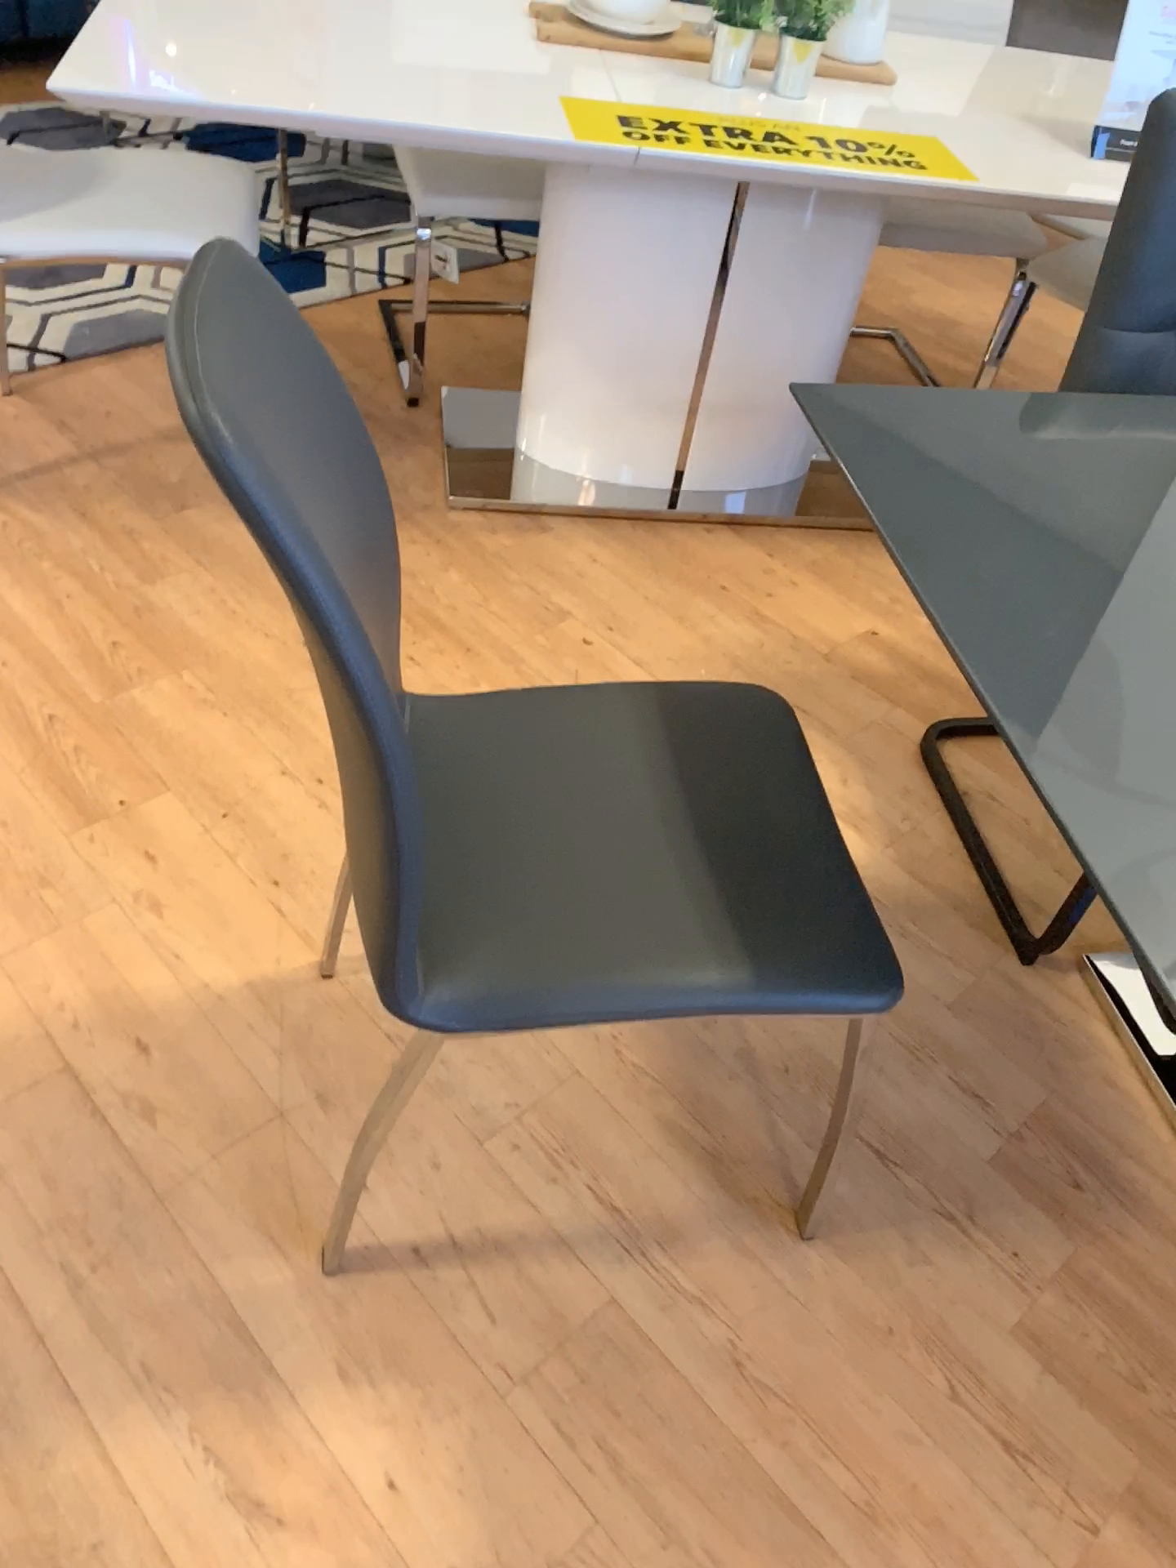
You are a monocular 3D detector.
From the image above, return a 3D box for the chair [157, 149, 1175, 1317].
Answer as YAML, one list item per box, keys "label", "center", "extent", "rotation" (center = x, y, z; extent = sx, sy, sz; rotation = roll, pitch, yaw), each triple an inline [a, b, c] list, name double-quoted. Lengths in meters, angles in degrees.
- label: "chair"
  center: [0.010, 0.017, 1.111]
  extent: [0.630, 0.911, 0.515]
  rotation: [0, 44, -12]
